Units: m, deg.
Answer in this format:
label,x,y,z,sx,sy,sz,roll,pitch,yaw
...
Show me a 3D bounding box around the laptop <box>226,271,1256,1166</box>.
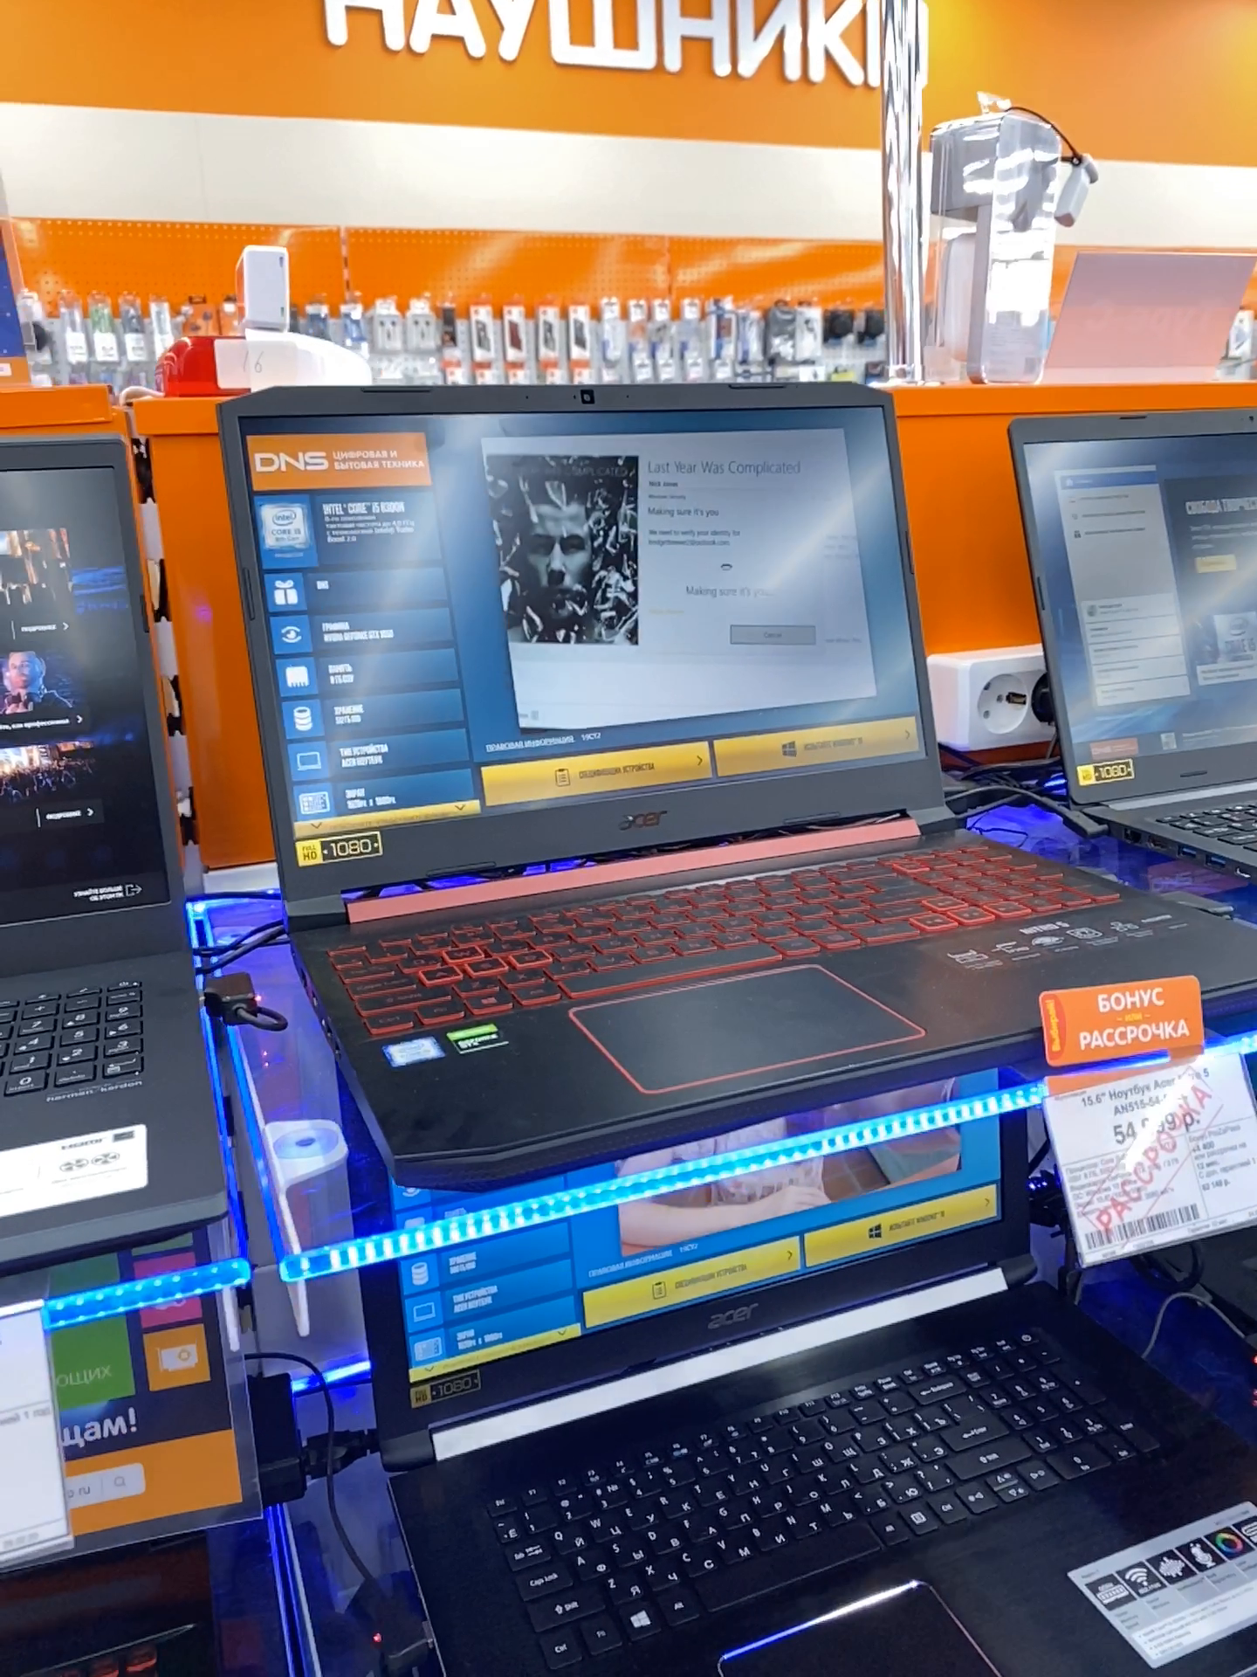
label,x,y,z,sx,sy,sz,roll,pitch,yaw
laptop,0.042,-0.075,0.544,0.360,0.237,0.303,-7,14,-21
